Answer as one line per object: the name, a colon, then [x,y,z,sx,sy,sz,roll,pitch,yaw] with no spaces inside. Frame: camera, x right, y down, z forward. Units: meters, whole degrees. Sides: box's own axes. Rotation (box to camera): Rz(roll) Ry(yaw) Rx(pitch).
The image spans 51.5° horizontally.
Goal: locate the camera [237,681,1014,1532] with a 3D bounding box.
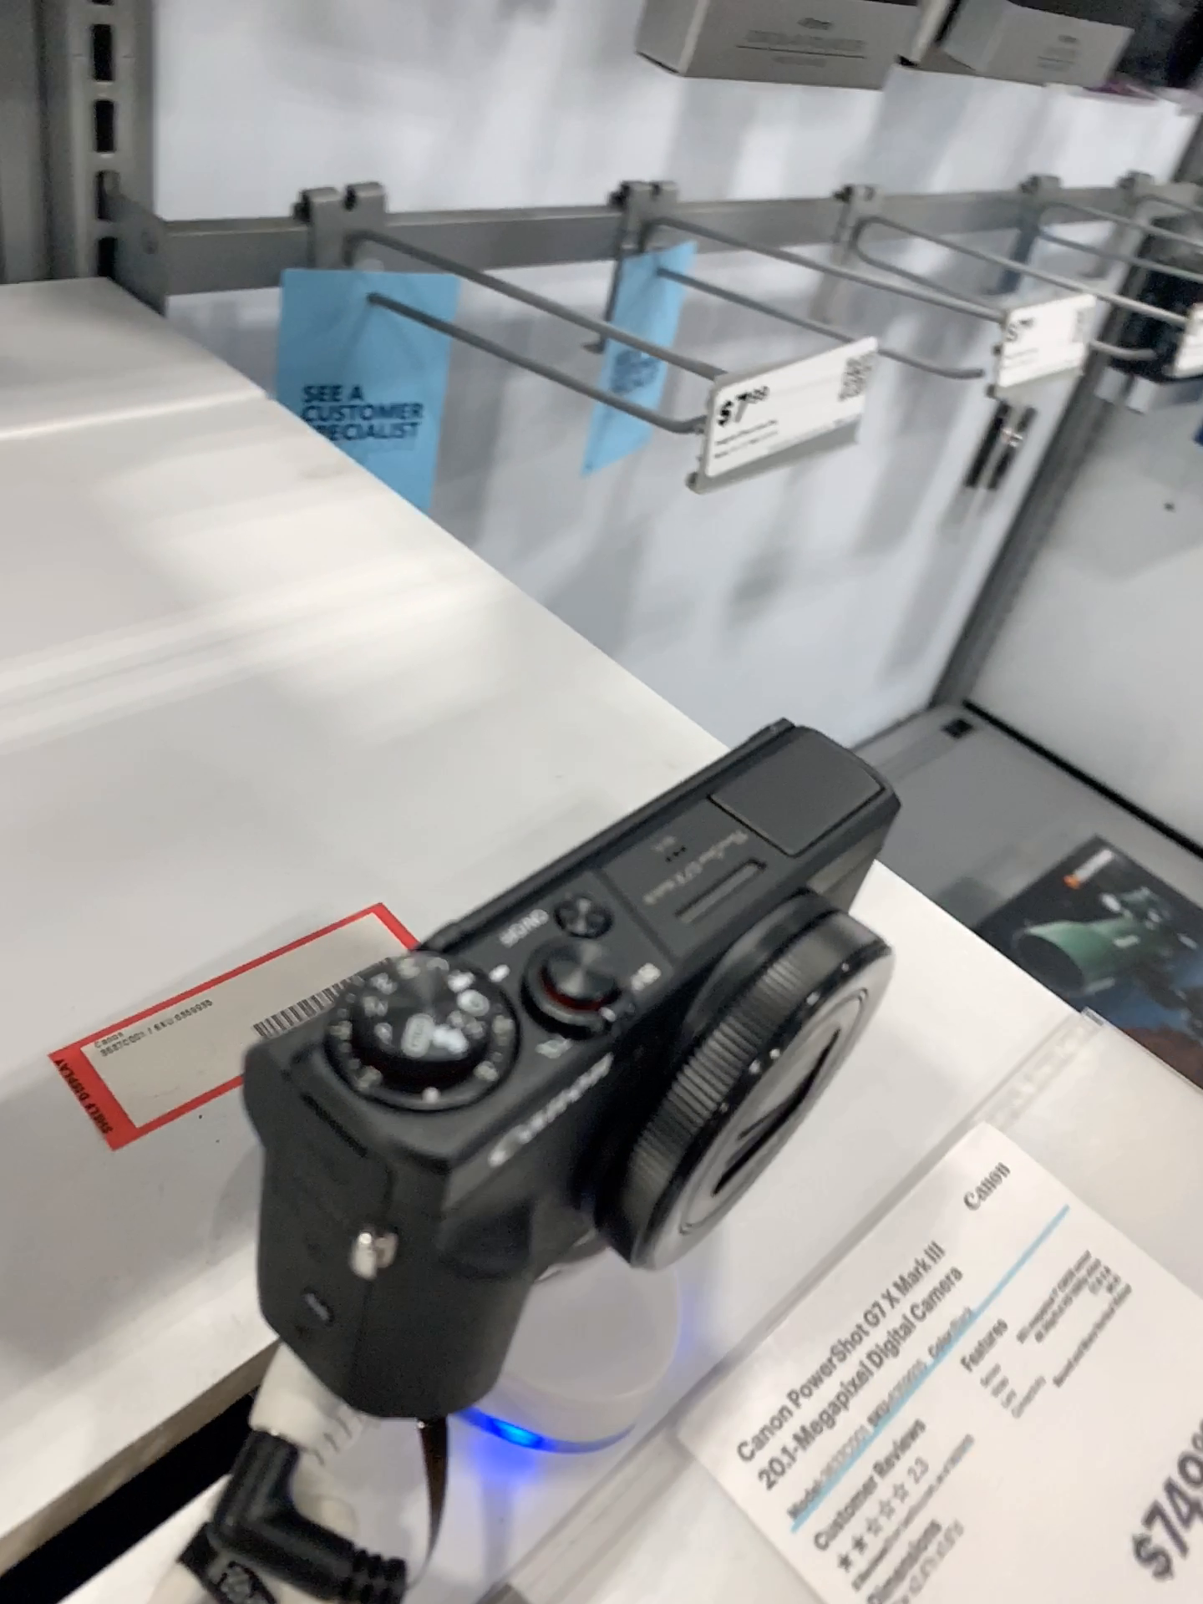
camera: [0.007,0.035,0.180,0.040,0.062,0.110,35,42,23]
